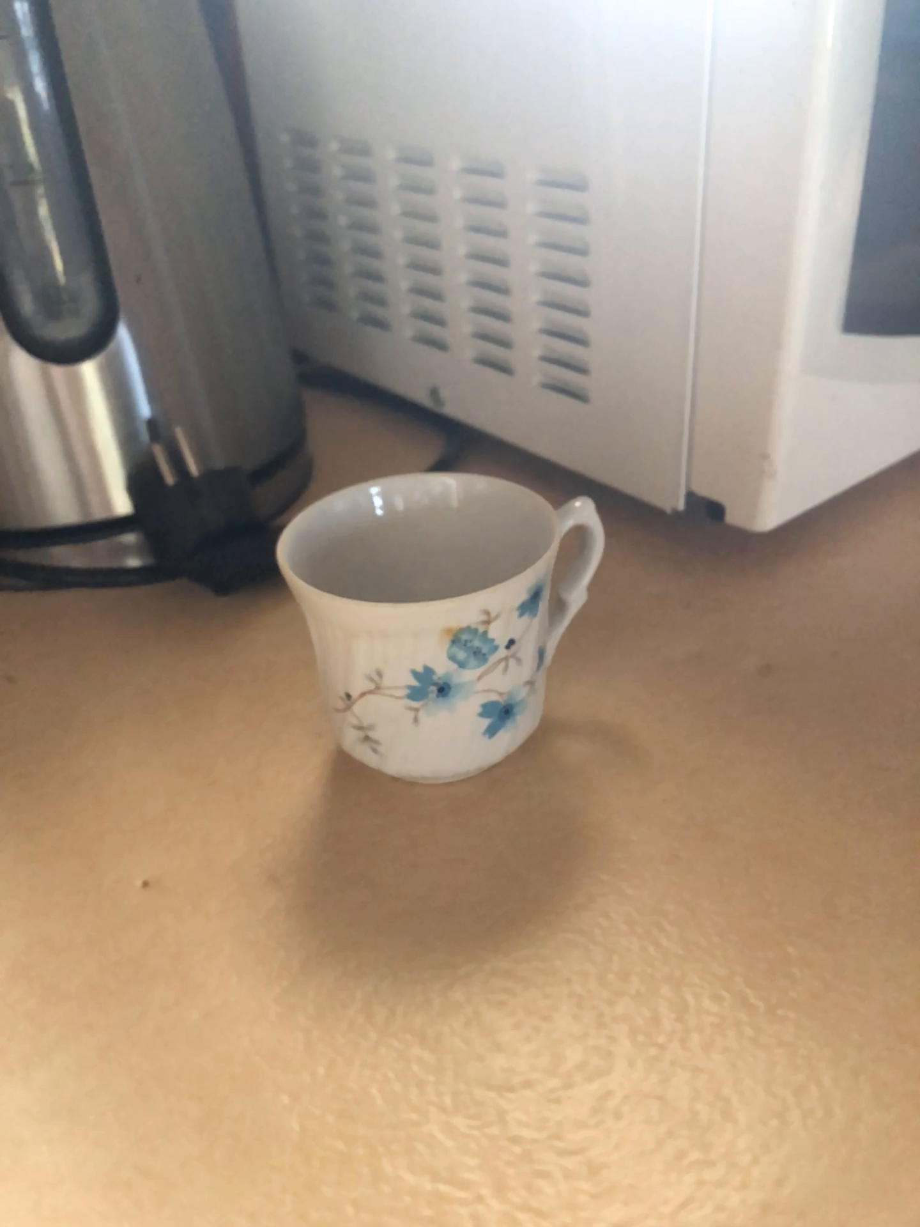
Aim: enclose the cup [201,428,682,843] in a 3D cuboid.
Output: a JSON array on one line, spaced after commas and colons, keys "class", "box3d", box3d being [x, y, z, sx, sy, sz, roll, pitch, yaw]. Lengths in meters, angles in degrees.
[{"class": "cup", "box3d": [-0.005, -0.001, 0.251, 0.090, 0.050, 0.070, -18, 34, -21]}]
